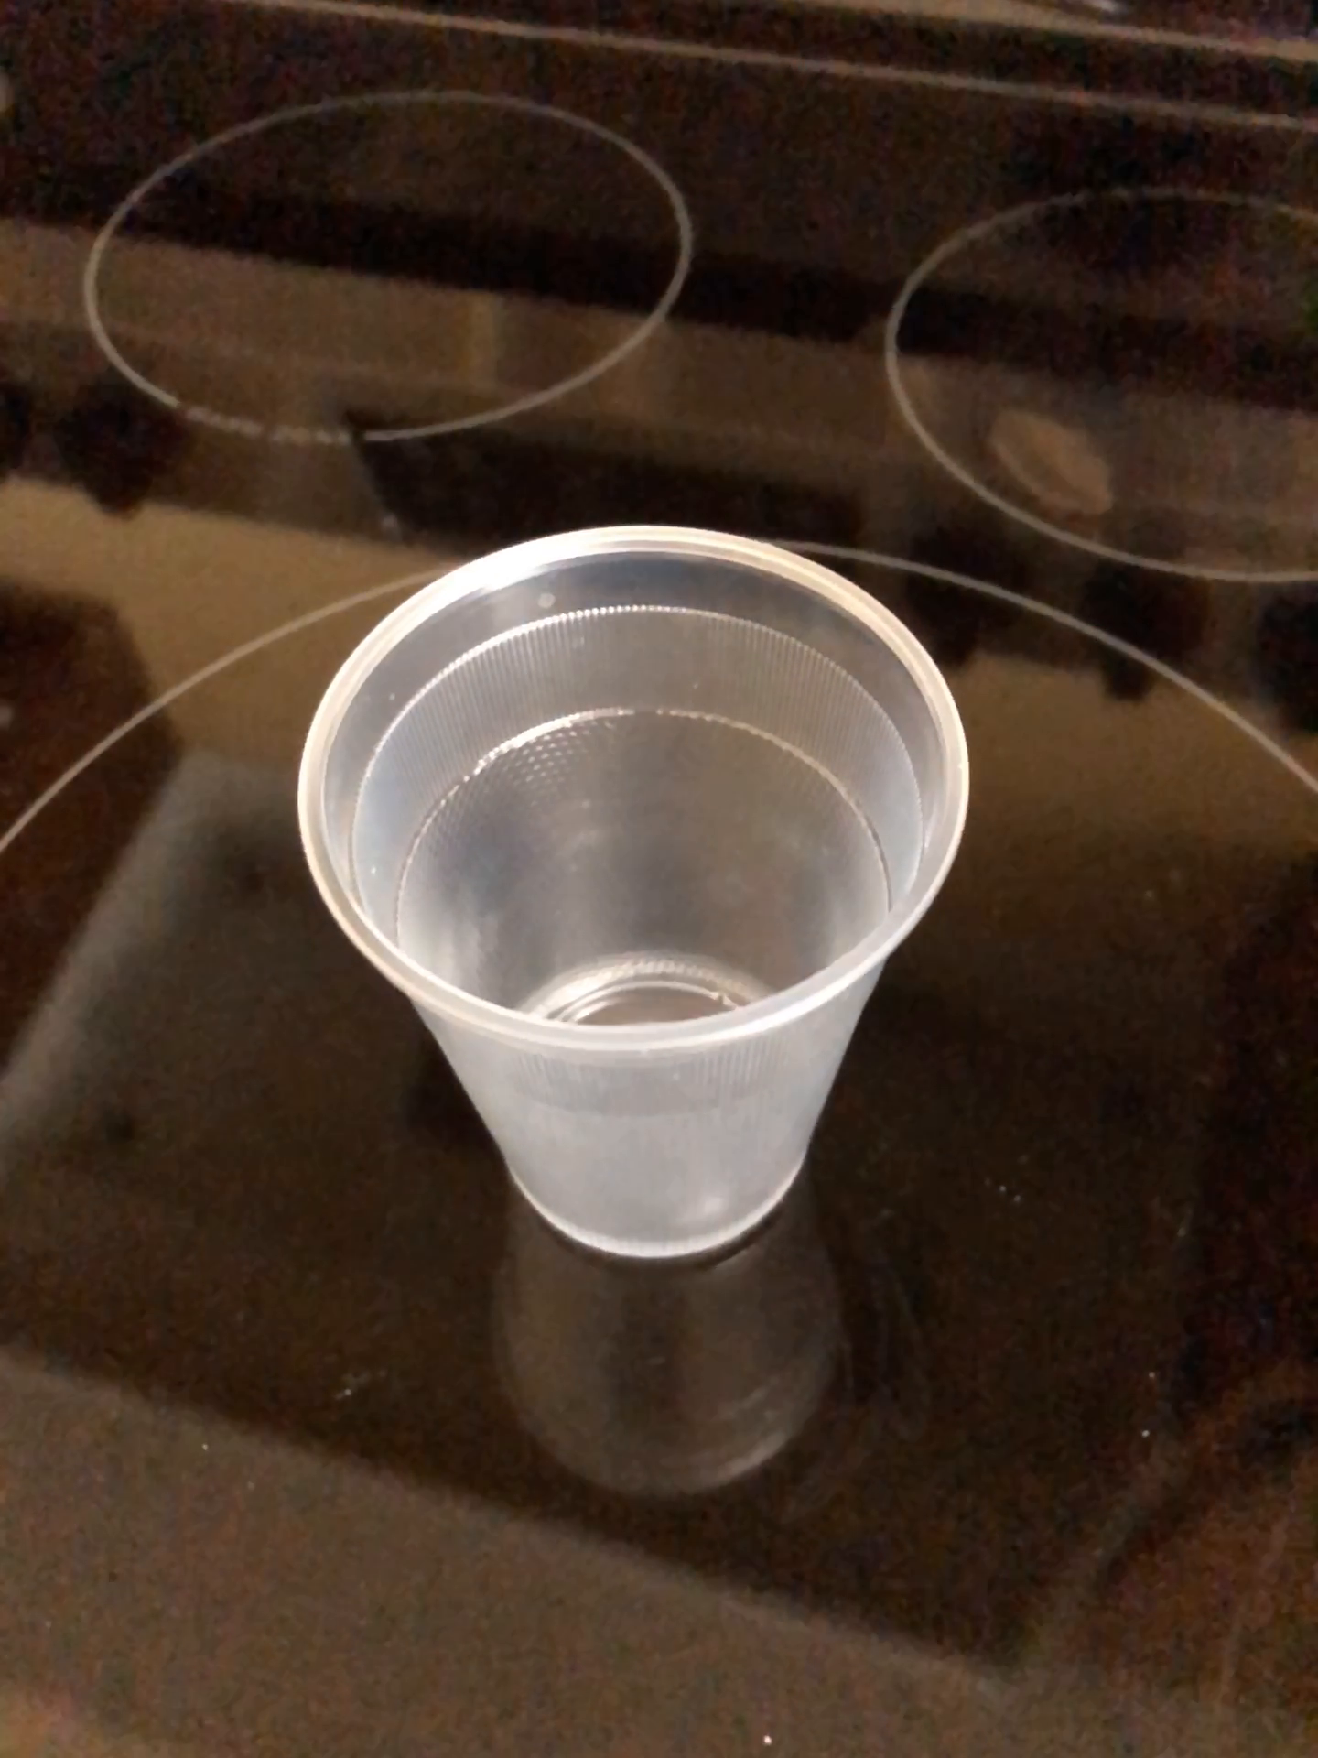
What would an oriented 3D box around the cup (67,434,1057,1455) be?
[{"bbox_3d":[-0.006,0.009,0.192,0.079,0.081,0.081,-1,54,1],"label":"cup"}]
